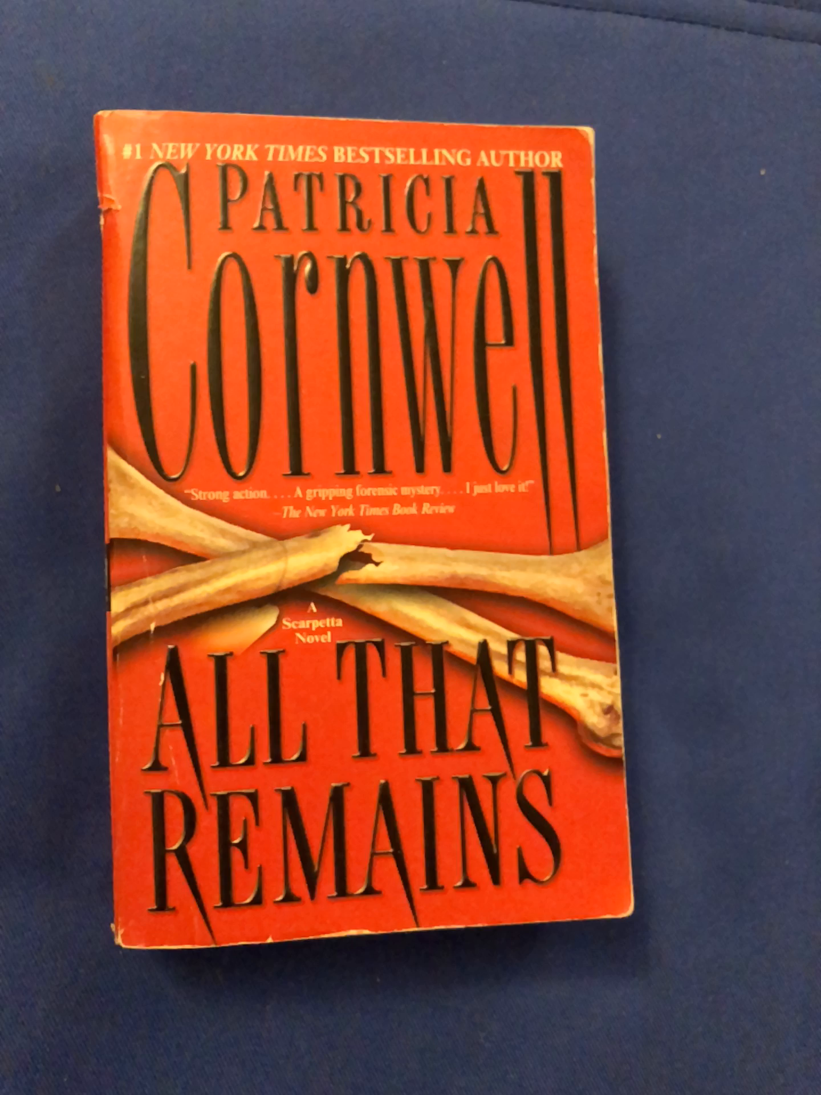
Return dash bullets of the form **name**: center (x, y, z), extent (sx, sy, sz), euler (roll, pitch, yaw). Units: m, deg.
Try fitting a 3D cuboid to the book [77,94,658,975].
- **book**: center (-0.010, -0.005, 0.196), extent (0.110, 0.030, 0.166), euler (-1, 87, -8)
